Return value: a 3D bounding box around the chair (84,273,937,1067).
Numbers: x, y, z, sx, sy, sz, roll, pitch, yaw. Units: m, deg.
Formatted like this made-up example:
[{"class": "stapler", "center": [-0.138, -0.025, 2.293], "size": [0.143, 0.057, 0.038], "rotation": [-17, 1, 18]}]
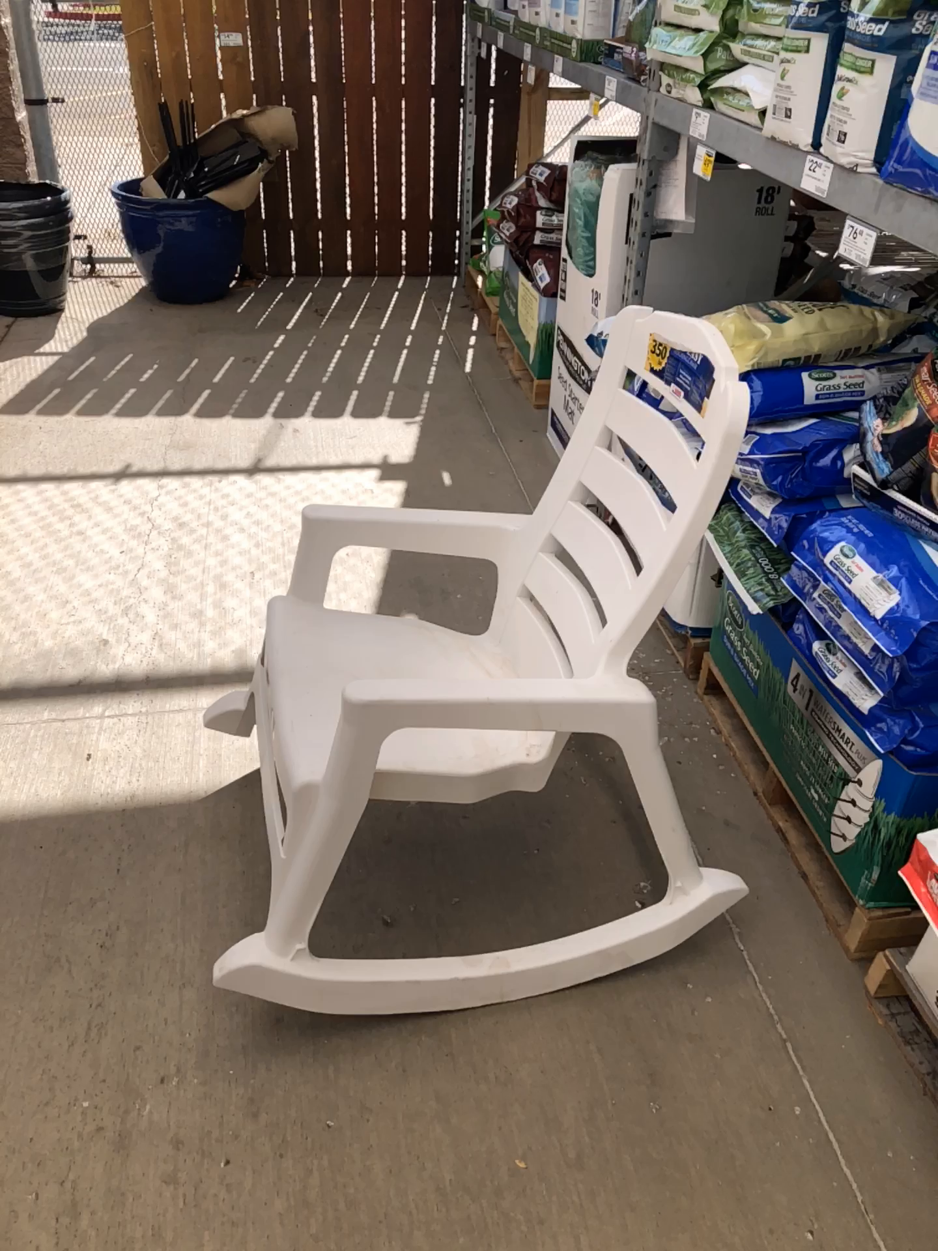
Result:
[{"class": "chair", "center": [0.000, -0.005, 1.726], "size": [1.031, 0.927, 0.848], "rotation": [-4, 33, -12]}]
